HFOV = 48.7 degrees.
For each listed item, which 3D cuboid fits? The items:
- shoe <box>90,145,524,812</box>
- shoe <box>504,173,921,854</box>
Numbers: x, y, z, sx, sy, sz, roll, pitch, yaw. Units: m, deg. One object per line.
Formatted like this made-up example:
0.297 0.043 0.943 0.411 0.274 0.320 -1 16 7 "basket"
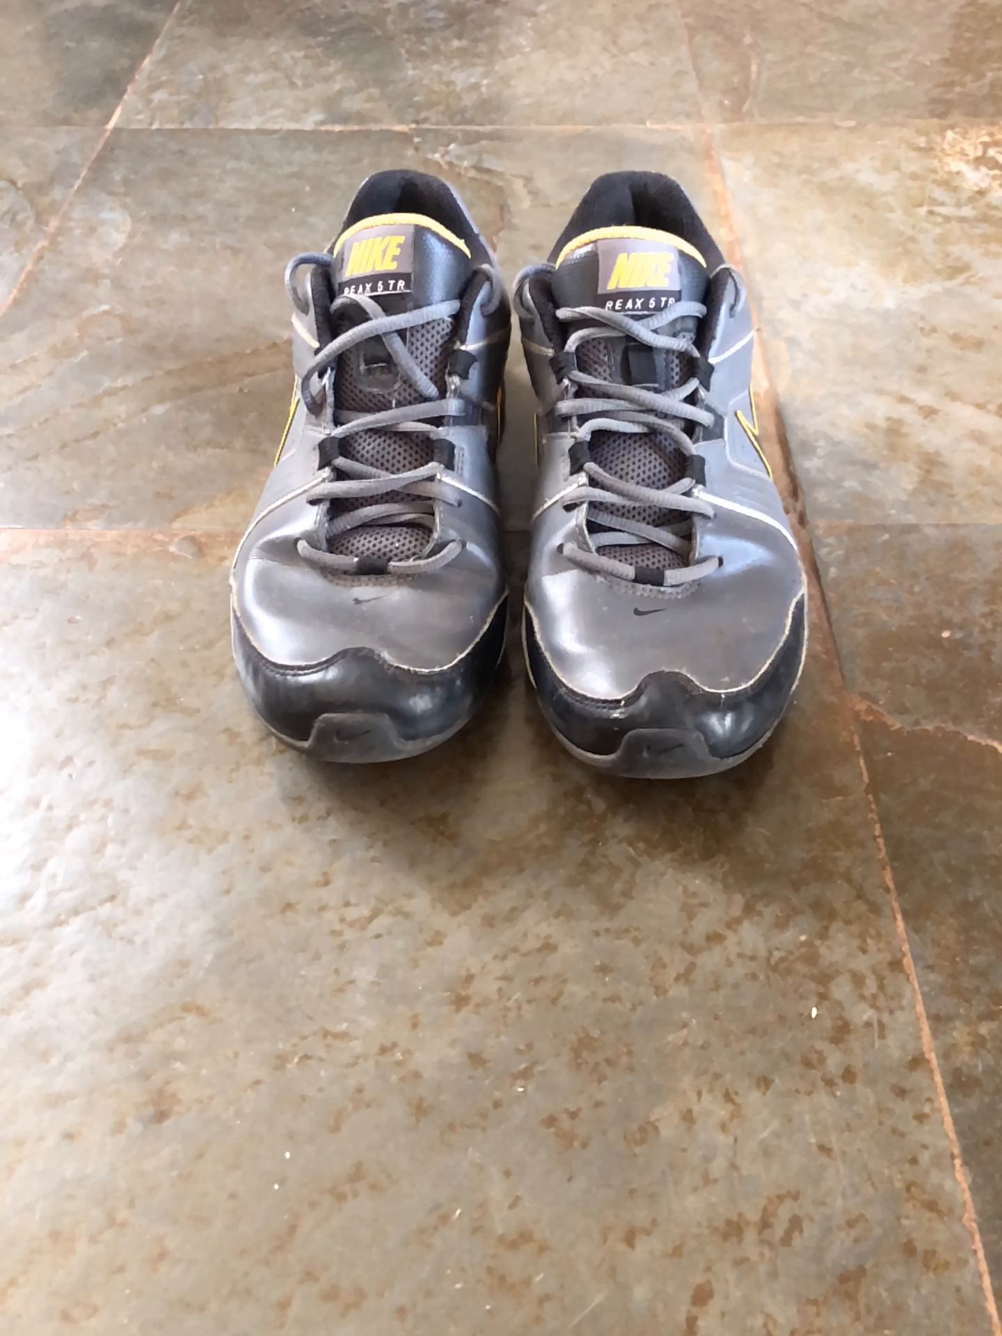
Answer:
-0.046 -0.080 0.387 0.100 0.099 0.242 1 48 2 "shoe"
0.056 -0.067 0.384 0.100 0.099 0.242 1 48 2 "shoe"
